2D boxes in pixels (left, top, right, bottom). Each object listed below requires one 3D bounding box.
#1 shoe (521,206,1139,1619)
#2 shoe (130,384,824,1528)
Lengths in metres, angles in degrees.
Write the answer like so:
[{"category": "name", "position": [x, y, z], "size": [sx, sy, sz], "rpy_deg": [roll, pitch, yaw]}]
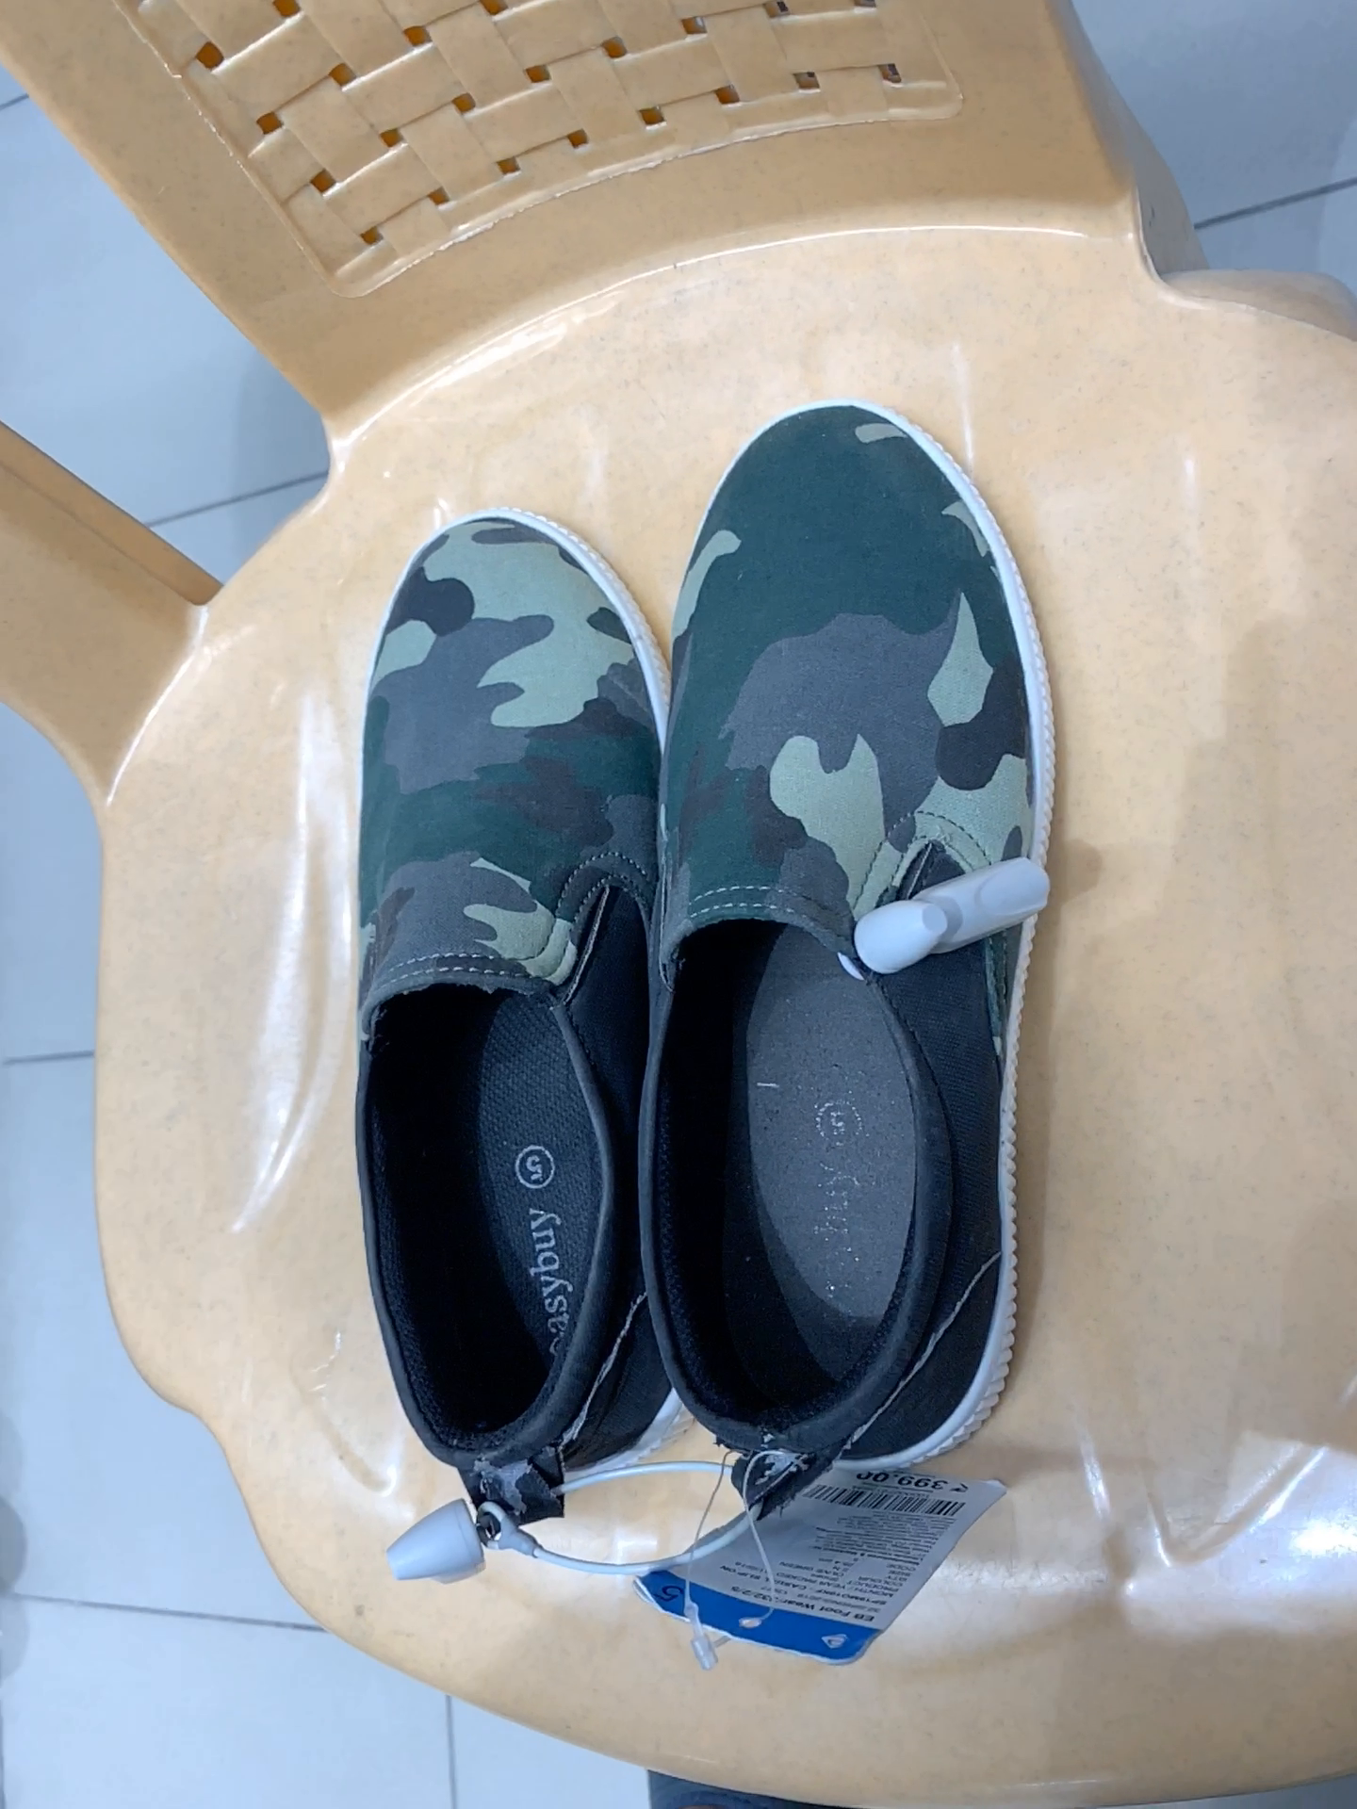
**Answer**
[{"category": "shoe", "position": [0.034, 0.003, 0.298], "size": [0.090, 0.100, 0.240], "rpy_deg": [-7, 80, 24]}, {"category": "shoe", "position": [-0.045, 0.014, 0.331], "size": [0.090, 0.100, 0.220], "rpy_deg": [-15, 80, 23]}]
